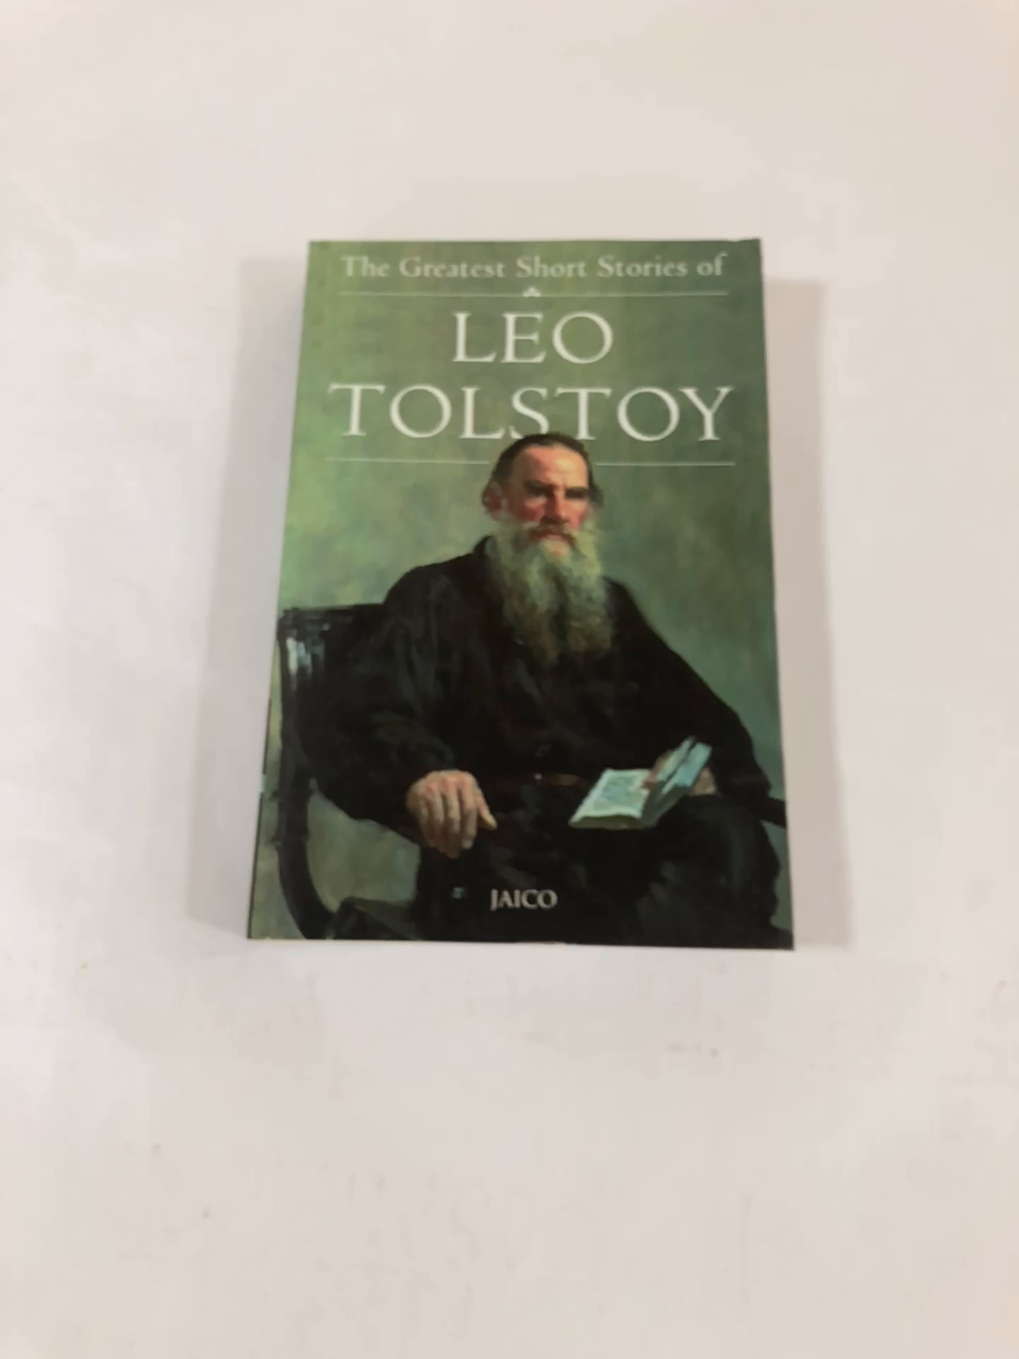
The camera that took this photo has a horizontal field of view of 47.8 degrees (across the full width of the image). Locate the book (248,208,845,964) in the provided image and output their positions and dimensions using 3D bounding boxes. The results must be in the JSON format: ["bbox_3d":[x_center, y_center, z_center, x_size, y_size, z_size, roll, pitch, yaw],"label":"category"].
[{"bbox_3d":[0.011,-0.037,0.336,0.150,0.020,0.230,1,71,0],"label":"book"}]
